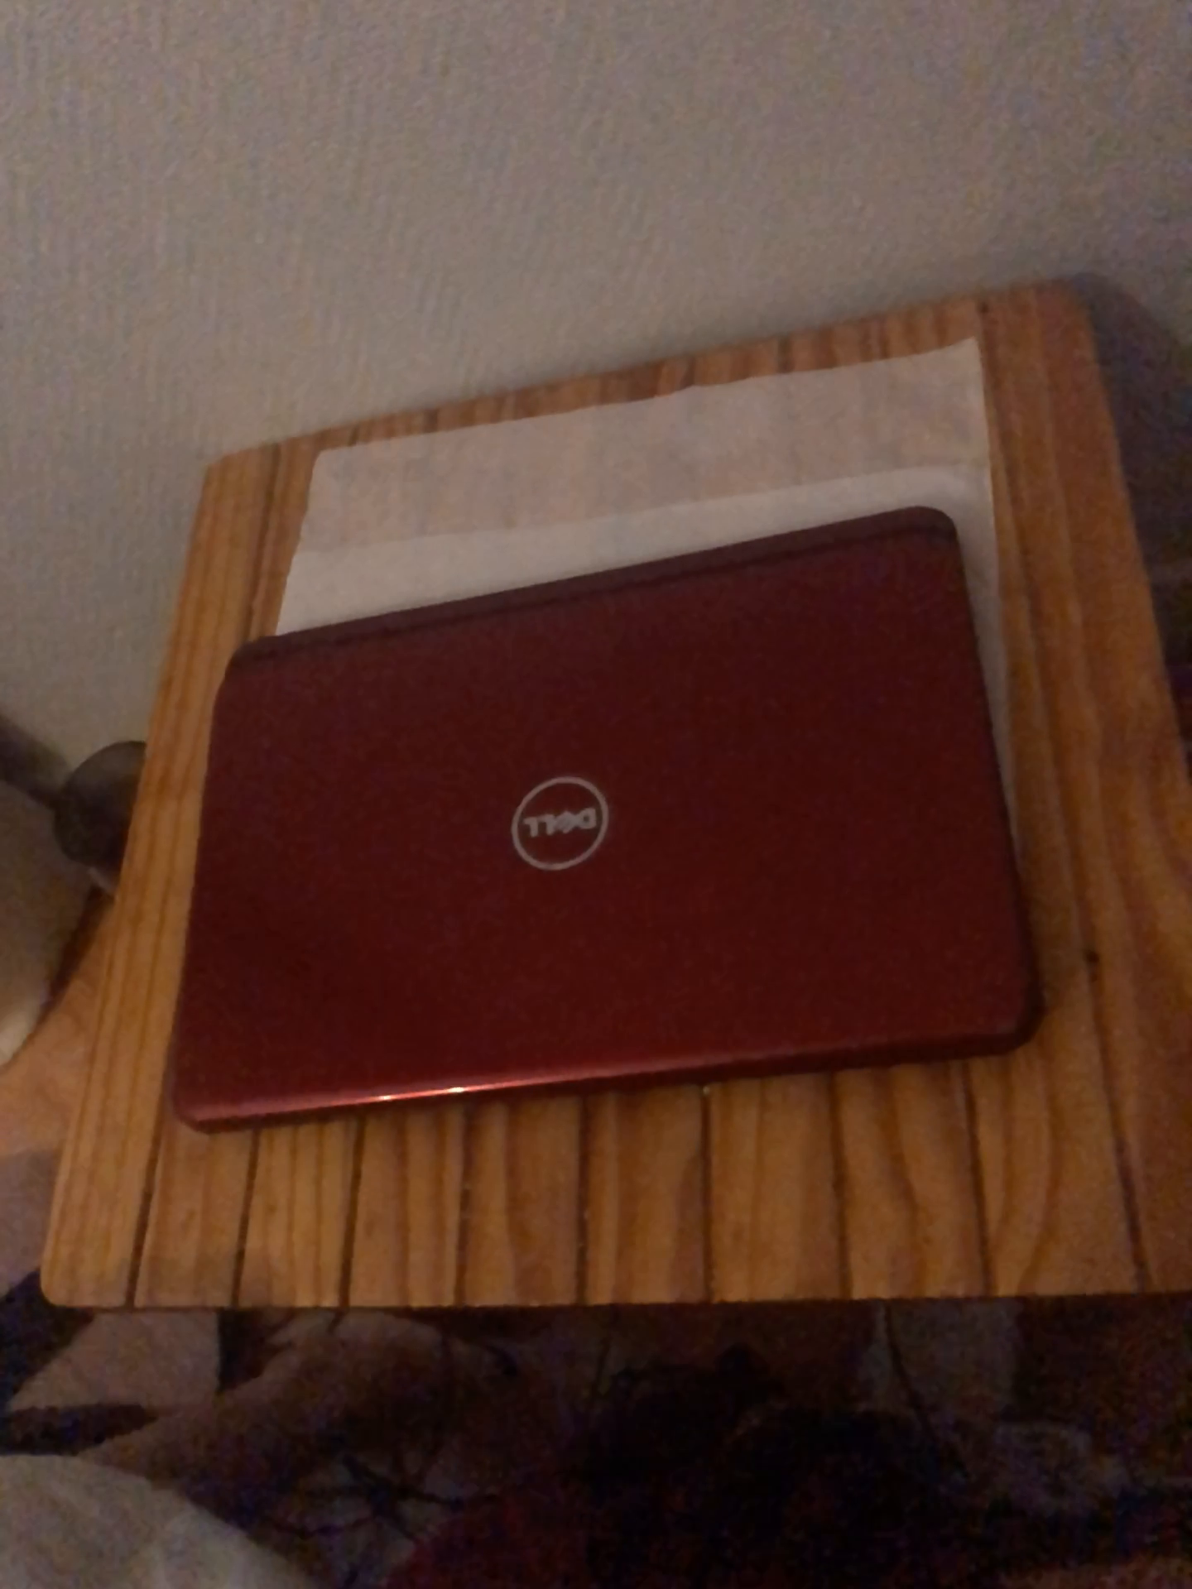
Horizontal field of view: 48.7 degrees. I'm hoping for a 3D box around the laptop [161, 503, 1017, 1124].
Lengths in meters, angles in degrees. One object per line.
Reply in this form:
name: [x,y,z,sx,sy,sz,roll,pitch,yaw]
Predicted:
laptop: [-0.019,0.008,0.596,0.365,0.011,0.247,-9,62,15]
